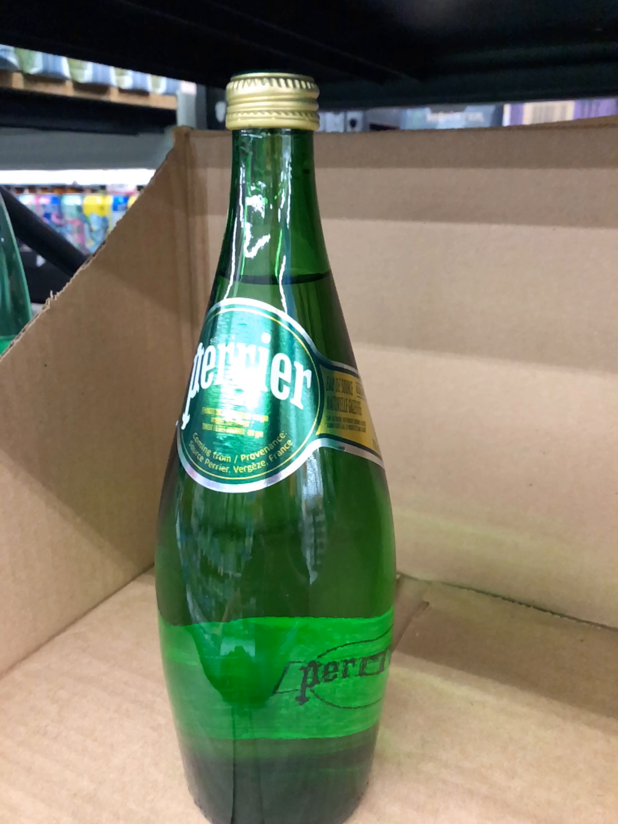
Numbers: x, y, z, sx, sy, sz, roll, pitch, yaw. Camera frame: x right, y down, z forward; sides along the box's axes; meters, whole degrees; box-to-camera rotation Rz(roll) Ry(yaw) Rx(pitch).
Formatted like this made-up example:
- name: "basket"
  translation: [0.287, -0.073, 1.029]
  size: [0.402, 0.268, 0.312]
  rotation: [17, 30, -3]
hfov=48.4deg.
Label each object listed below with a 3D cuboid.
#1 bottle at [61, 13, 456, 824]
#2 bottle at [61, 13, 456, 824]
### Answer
- name: "bottle"
  translation: [-0.011, 0.021, 0.247]
  size: [0.090, 0.268, 0.080]
  rotation: [9, 20, 26]
- name: "bottle"
  translation: [-0.011, 0.021, 0.247]
  size: [0.090, 0.268, 0.080]
  rotation: [9, 20, 26]
